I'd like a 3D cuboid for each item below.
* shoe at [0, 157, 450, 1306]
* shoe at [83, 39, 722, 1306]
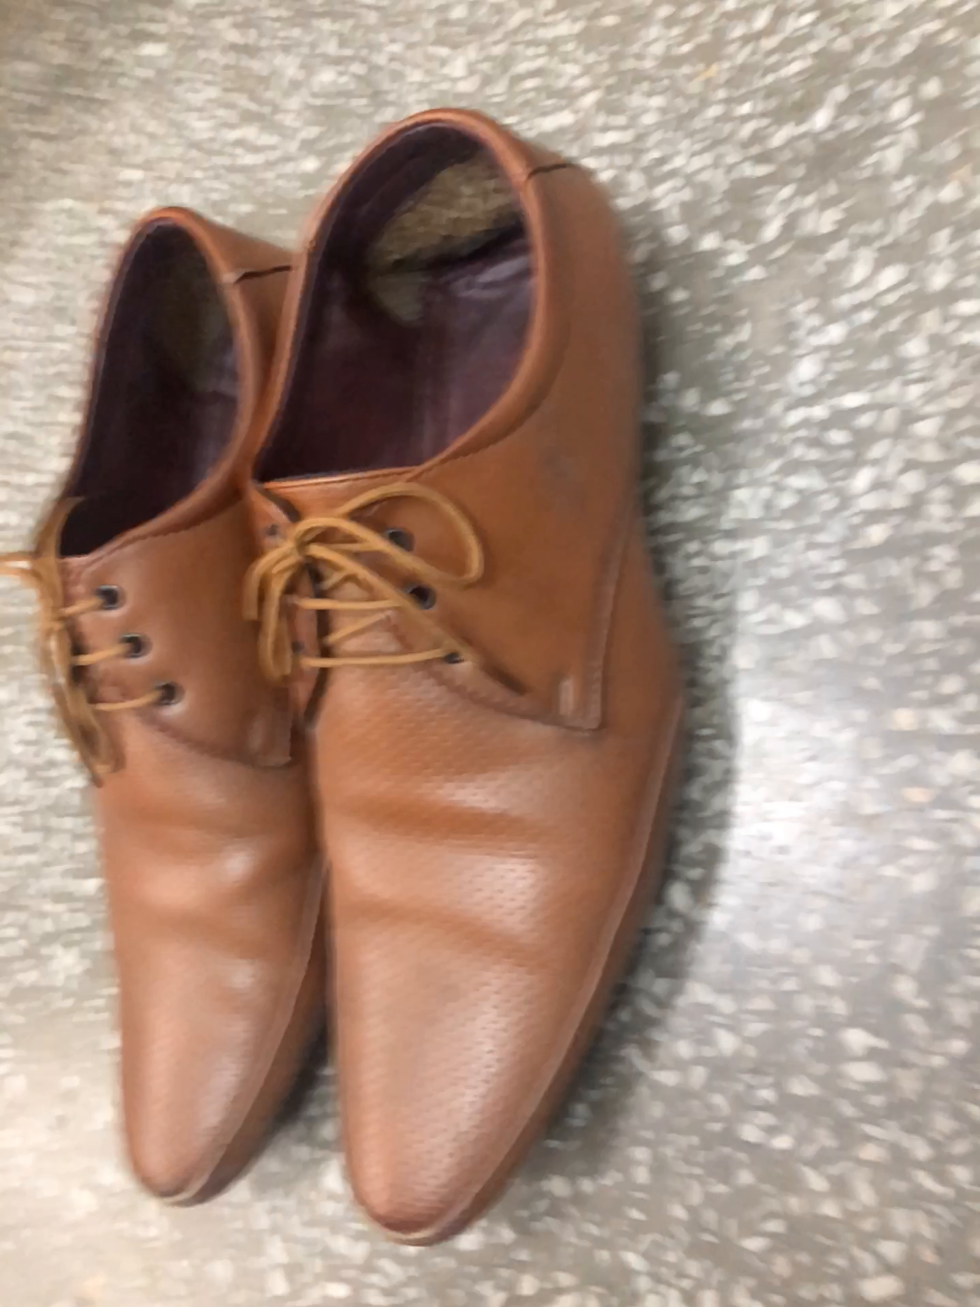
[{"bbox_3d":[-0.097,0.020,0.345,0.106,0.118,0.284,-3,79,31],"label":"shoe"},{"bbox_3d":[-0.010,0.016,0.296,0.106,0.118,0.284,-3,79,31],"label":"shoe"}]
